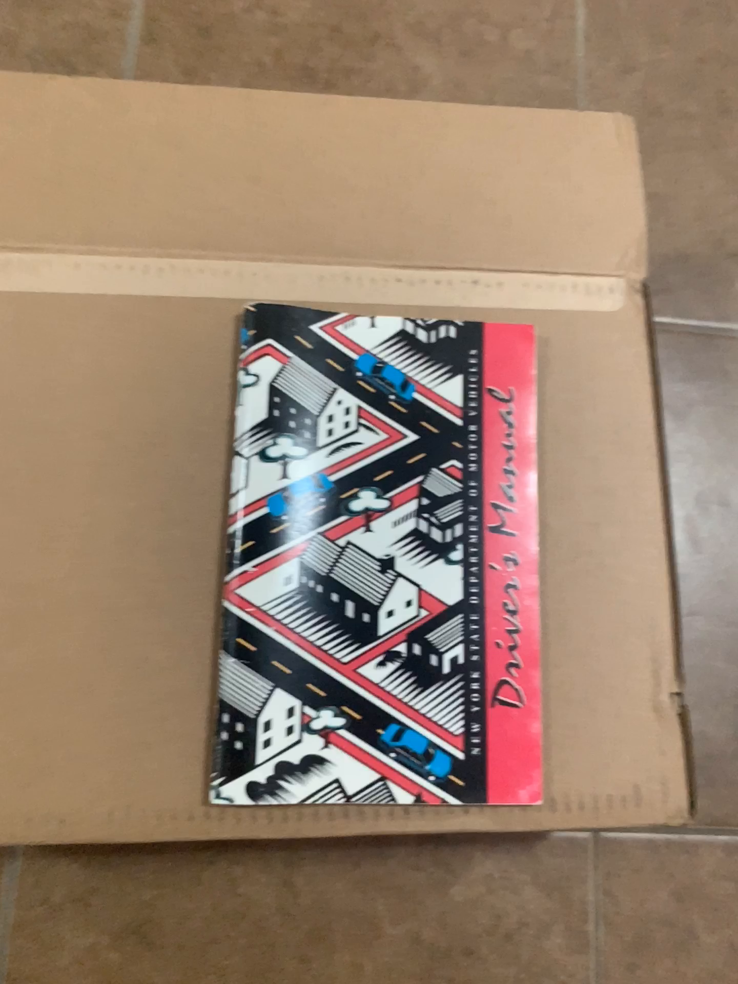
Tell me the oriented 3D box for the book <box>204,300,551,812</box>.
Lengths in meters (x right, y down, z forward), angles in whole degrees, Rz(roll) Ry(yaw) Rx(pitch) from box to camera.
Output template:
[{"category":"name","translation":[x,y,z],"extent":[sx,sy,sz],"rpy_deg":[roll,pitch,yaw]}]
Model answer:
[{"category":"book","translation":[0.007,0.022,0.320],"extent":[0.133,0.013,0.207],"rpy_deg":[3,77,-5]}]
